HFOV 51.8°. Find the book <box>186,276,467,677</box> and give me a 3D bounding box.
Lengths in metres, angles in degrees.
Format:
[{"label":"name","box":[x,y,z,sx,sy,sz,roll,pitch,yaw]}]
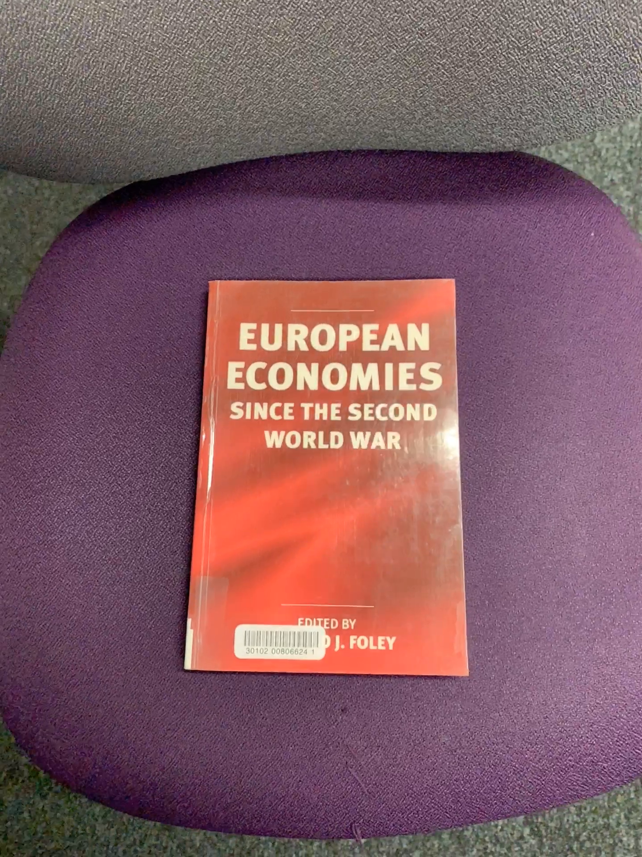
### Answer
[{"label":"book","box":[0.005,0.021,0.383,0.148,0.020,0.225,0,77,4]}]
